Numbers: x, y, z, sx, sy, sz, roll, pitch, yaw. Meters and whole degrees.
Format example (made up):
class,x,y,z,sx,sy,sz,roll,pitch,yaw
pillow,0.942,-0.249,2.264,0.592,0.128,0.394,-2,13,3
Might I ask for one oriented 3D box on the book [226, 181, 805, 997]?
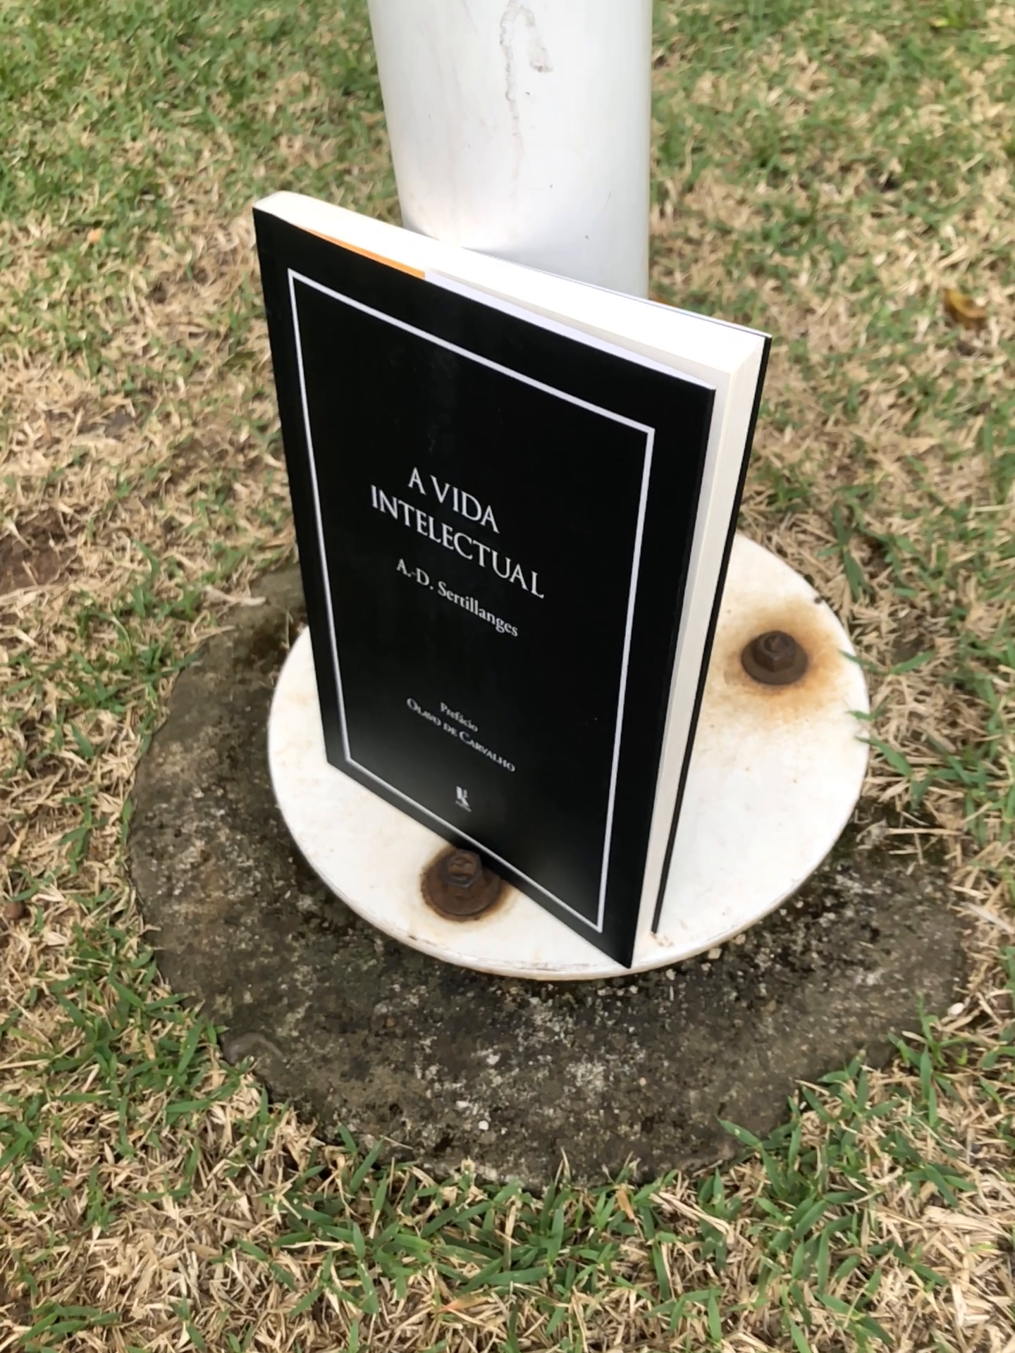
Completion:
class,x,y,z,sx,sy,sz,roll,pitch,yaw
book,-0.006,-0.015,0.307,0.141,0.193,0.025,30,50,28
